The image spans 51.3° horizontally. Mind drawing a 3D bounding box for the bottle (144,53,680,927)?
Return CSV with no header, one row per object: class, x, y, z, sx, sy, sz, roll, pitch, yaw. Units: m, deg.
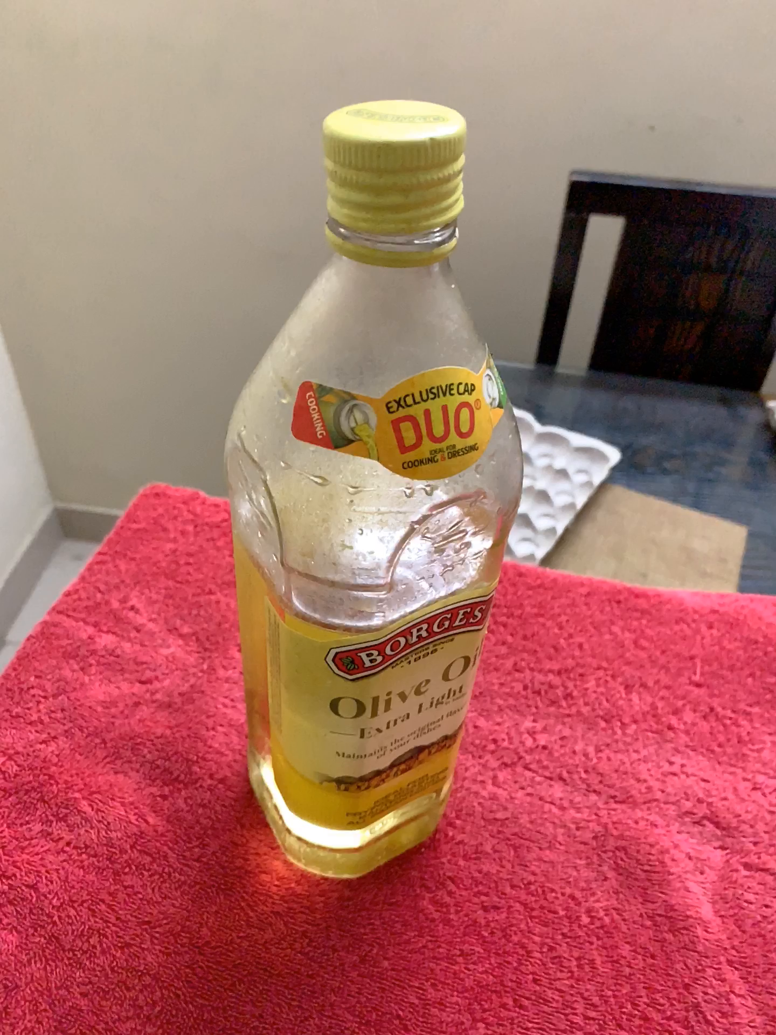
bottle,-0.004,0.020,0.248,0.080,0.268,0.070,-19,47,-23
